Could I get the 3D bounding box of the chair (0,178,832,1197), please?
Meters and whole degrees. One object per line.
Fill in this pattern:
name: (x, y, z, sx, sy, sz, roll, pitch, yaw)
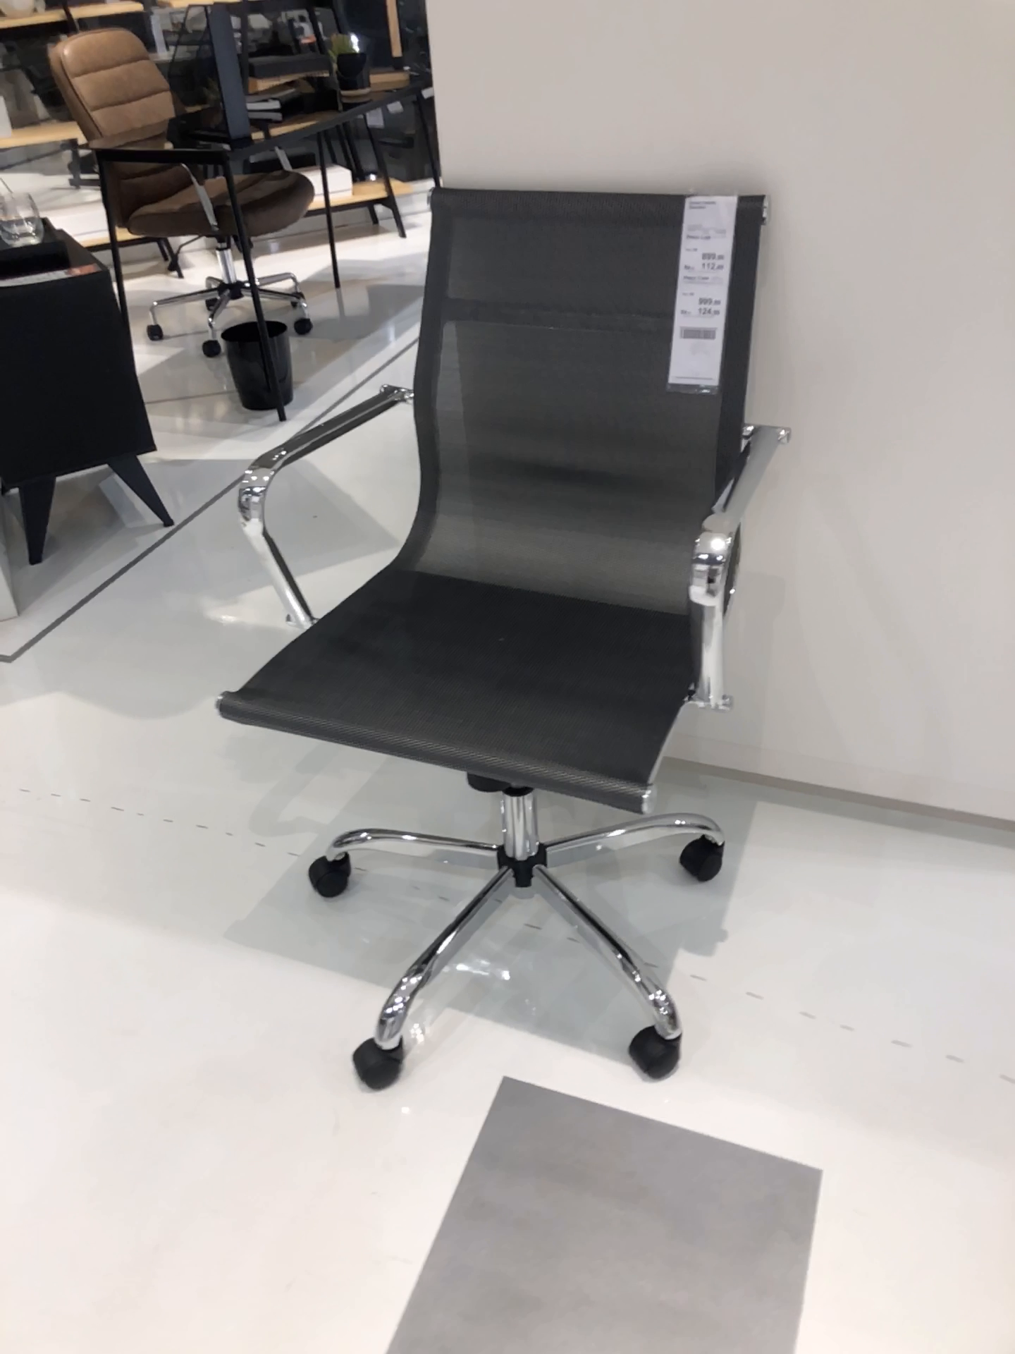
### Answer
chair: (-0.029, -0.033, 1.323, 0.621, 0.903, 0.654, 10, 37, 21)
